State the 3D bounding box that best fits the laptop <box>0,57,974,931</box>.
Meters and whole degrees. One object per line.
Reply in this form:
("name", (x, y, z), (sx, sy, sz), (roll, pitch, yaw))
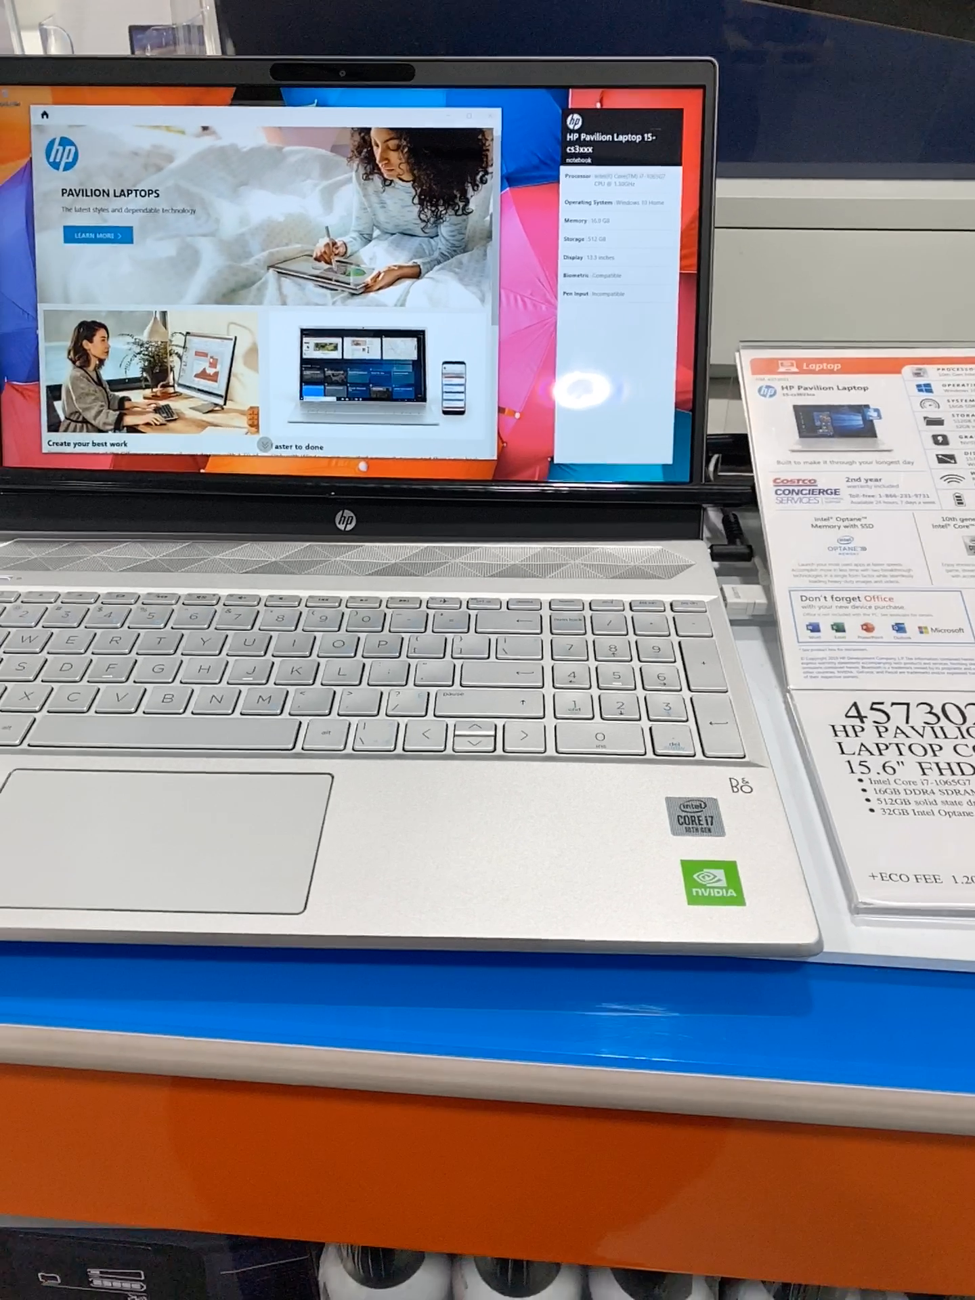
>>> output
("laptop", (-0.065, -0.092, 0.367), (0.332, 0.175, 0.335), (1, 37, 1))
